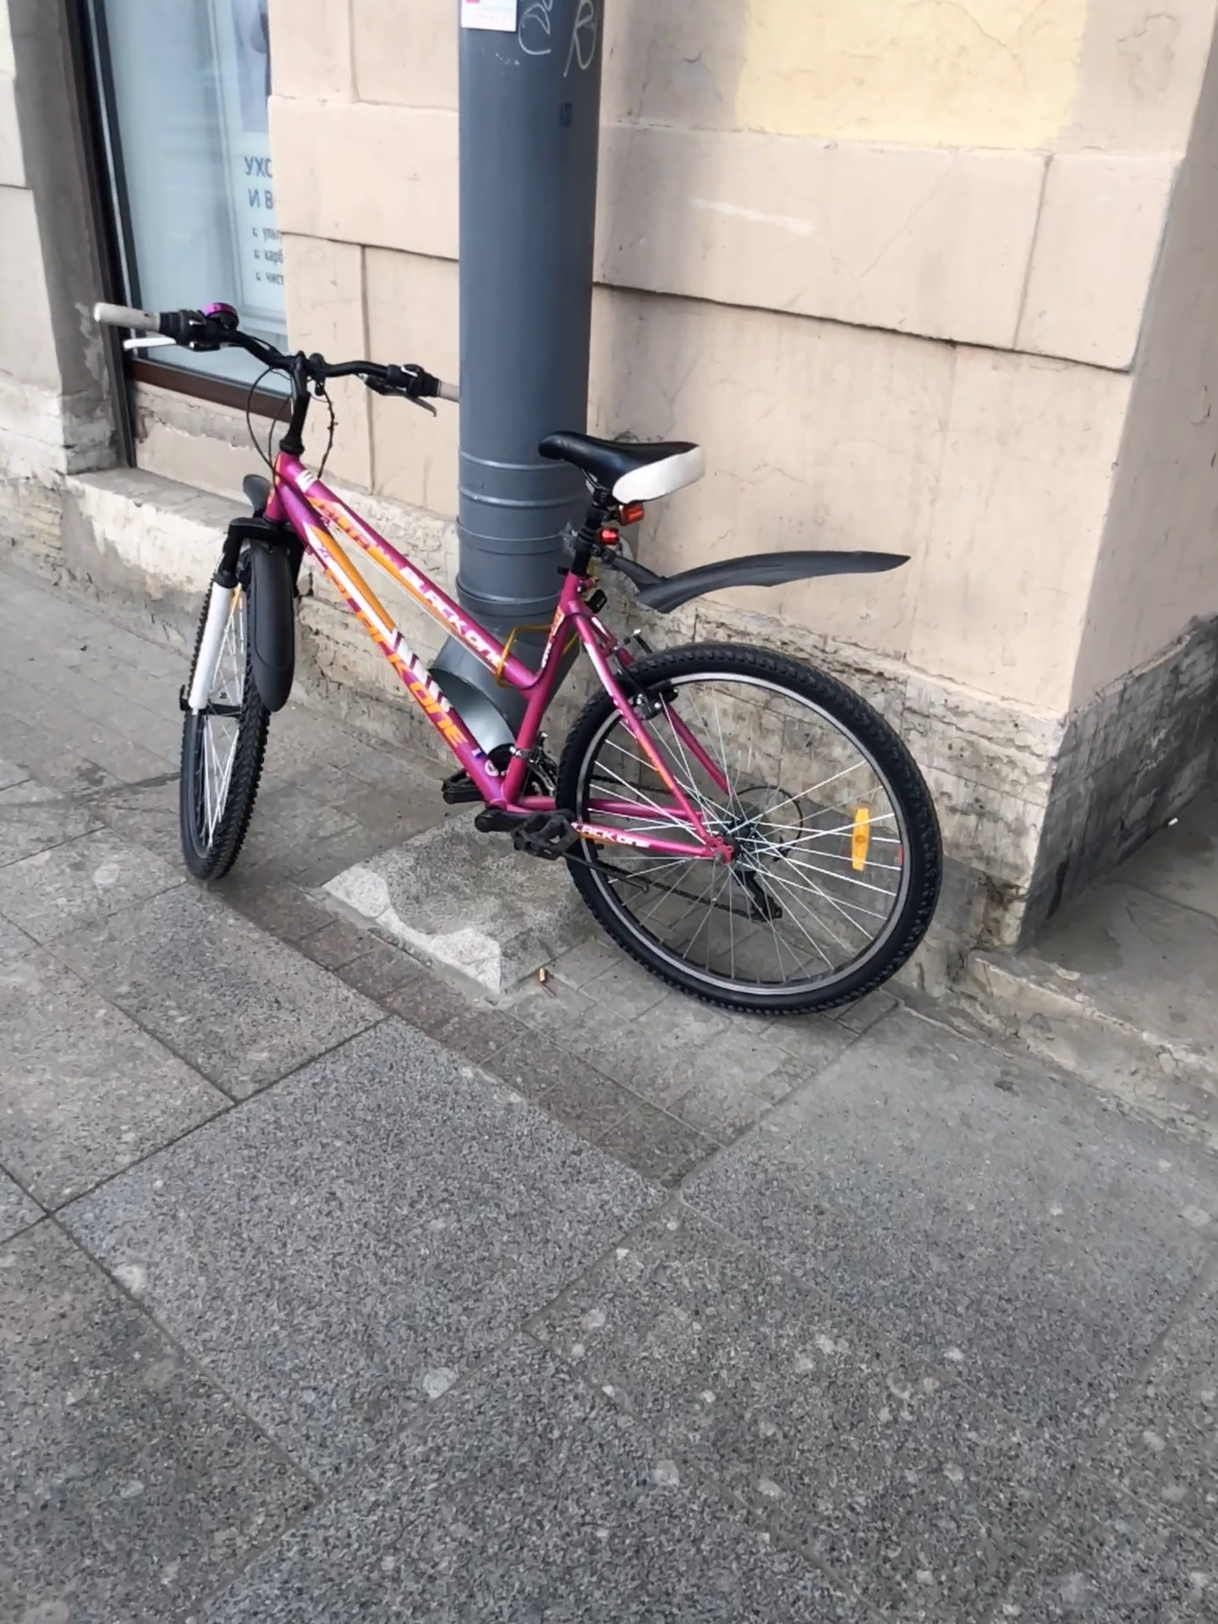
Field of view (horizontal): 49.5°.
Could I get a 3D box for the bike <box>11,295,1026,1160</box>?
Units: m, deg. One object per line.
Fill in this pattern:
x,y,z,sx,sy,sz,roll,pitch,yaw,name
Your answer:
-0.214,-0.285,2.253,1.577,0.974,0.624,17,31,29,bike
